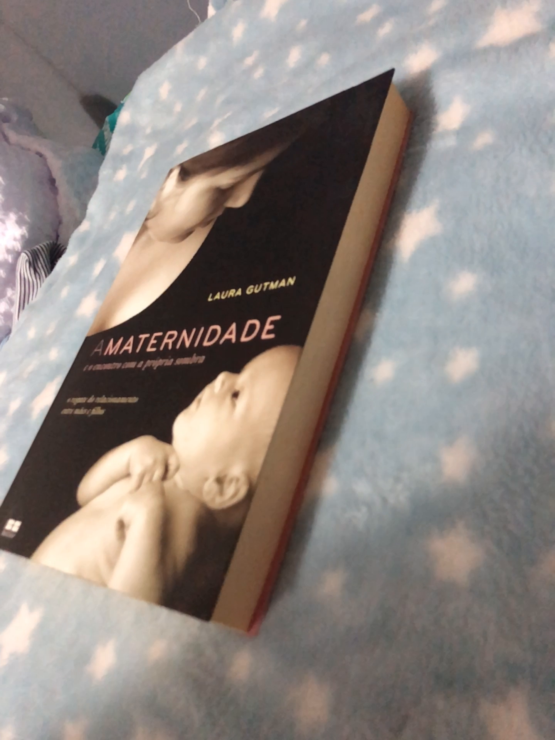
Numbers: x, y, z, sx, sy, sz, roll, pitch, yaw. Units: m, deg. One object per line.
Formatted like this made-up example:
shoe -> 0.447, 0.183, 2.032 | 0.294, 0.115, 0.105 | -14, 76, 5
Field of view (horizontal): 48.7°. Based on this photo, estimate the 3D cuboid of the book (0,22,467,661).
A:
book -> -0.024, -0.027, 0.265 | 0.161, 0.030, 0.240 | -3, 57, 43
